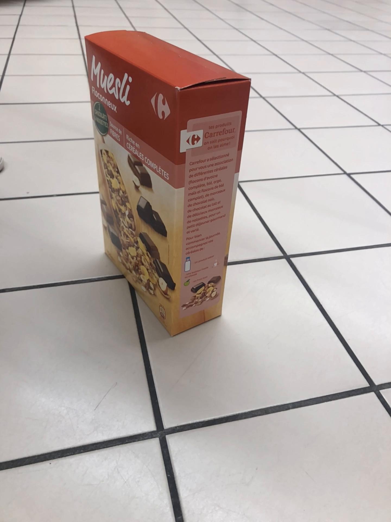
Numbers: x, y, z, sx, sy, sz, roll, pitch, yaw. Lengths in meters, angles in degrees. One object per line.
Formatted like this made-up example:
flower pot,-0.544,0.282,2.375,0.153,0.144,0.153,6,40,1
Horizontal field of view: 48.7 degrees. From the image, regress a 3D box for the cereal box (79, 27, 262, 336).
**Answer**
cereal box,-0.035,-0.076,0.423,0.070,0.239,0.170,-20,44,-28
